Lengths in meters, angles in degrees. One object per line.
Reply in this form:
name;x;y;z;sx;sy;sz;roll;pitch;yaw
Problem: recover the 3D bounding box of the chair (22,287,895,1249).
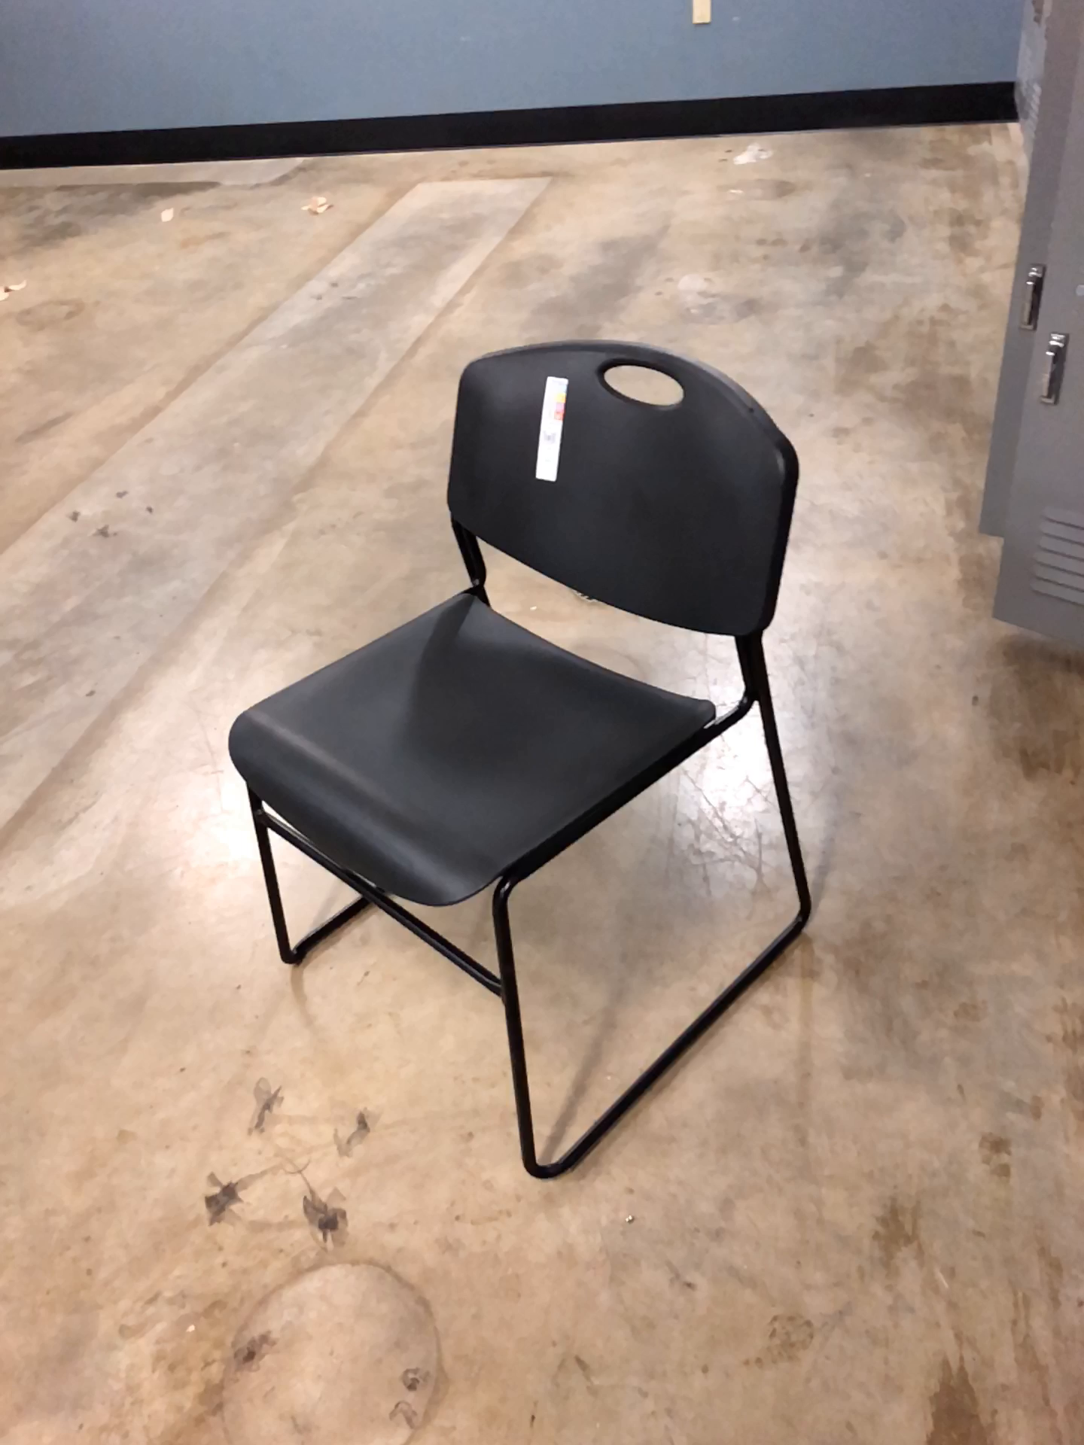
chair;-0.047;0.009;1.246;0.547;0.665;0.545;-35;46;-30
